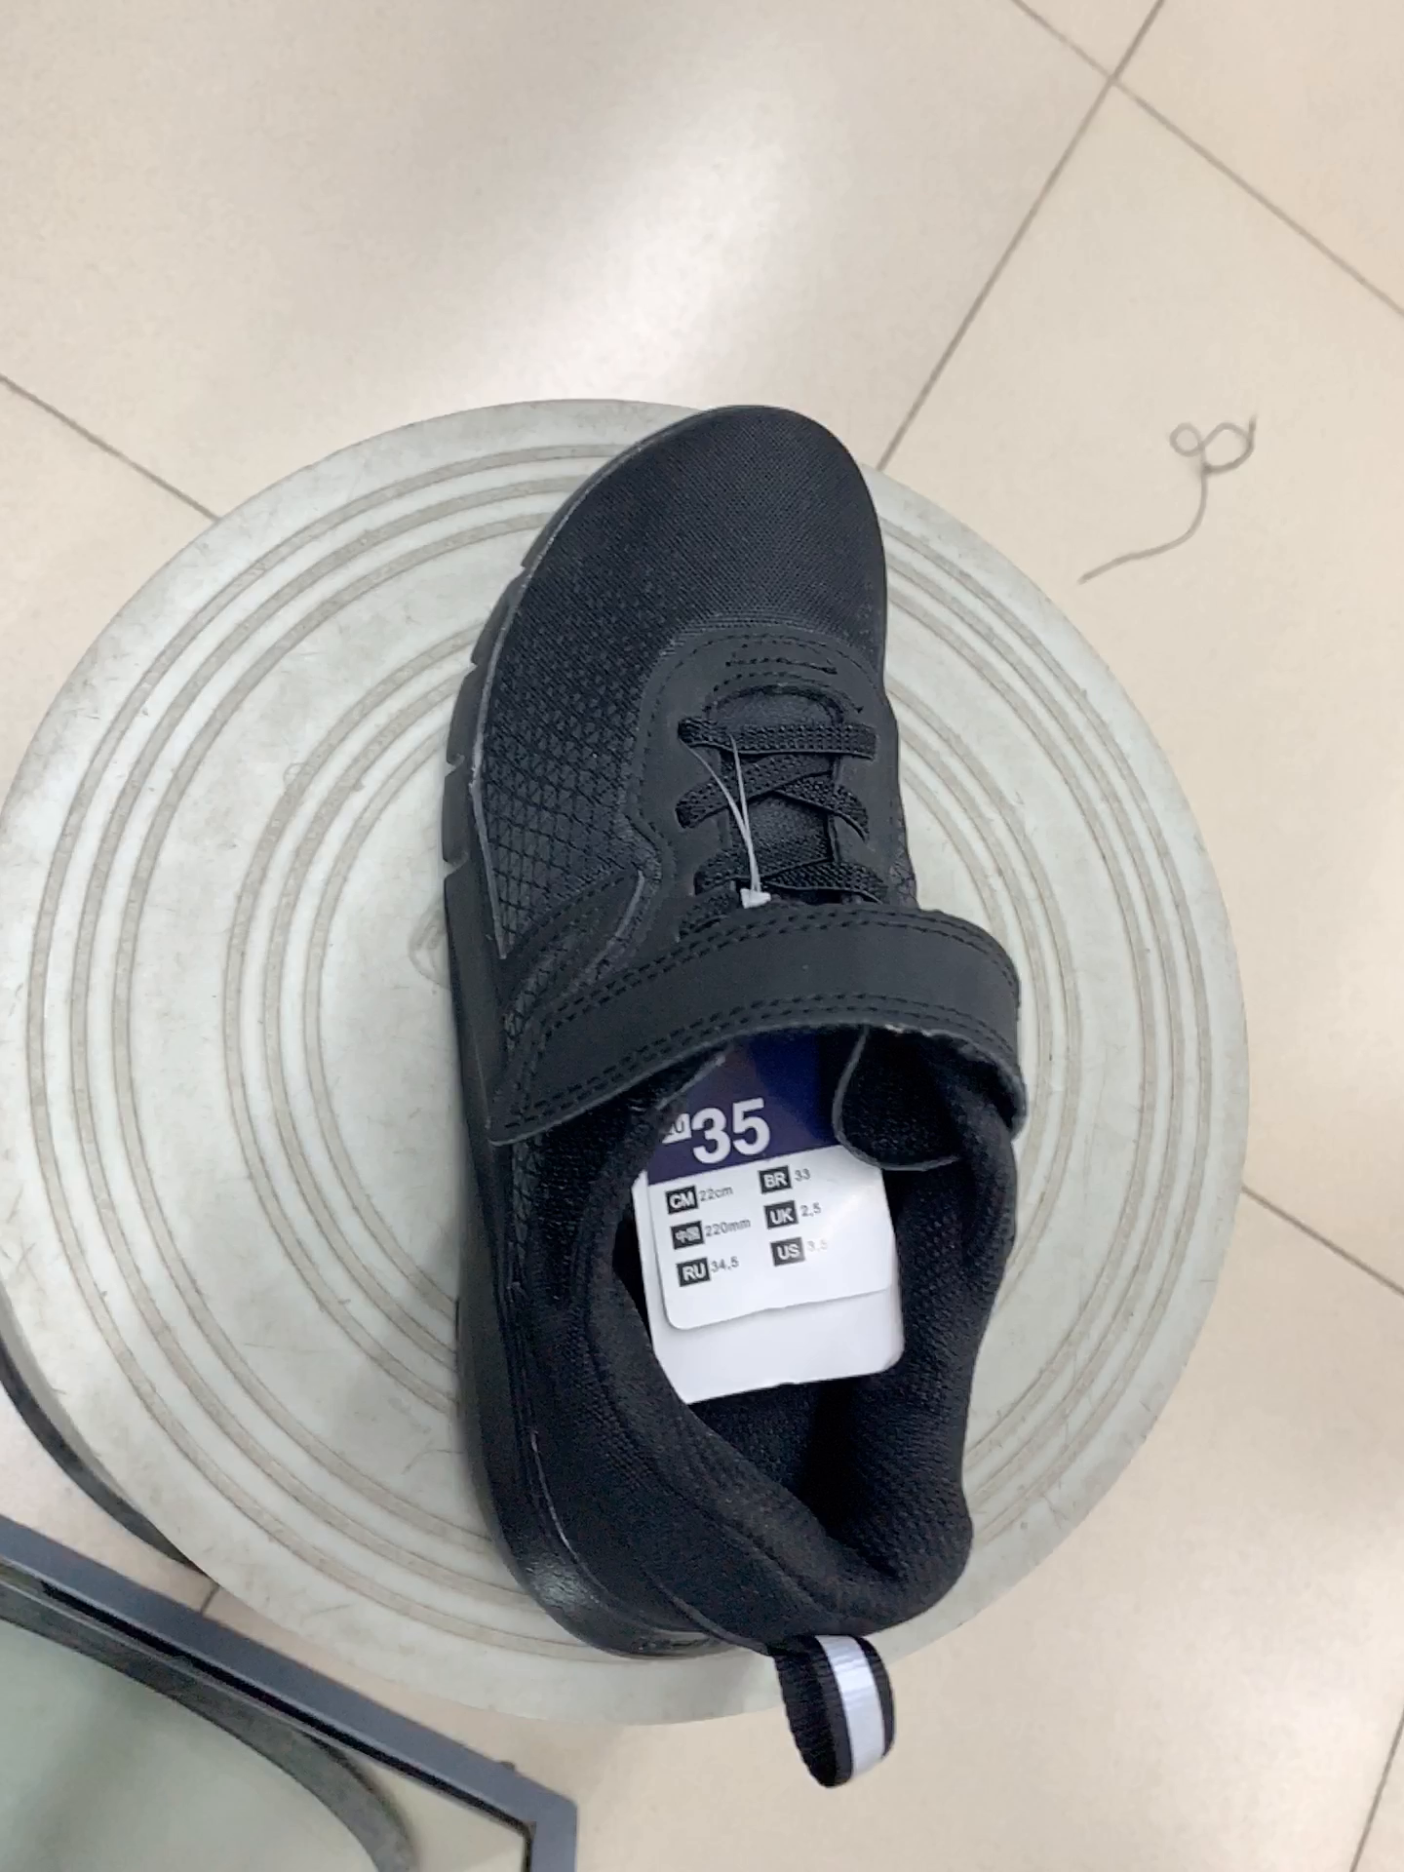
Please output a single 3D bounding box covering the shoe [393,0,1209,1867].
[{"bbox_3d":[0.005,-0.006,0.245,0.100,0.080,0.250,0,80,-18],"label":"shoe"}]
